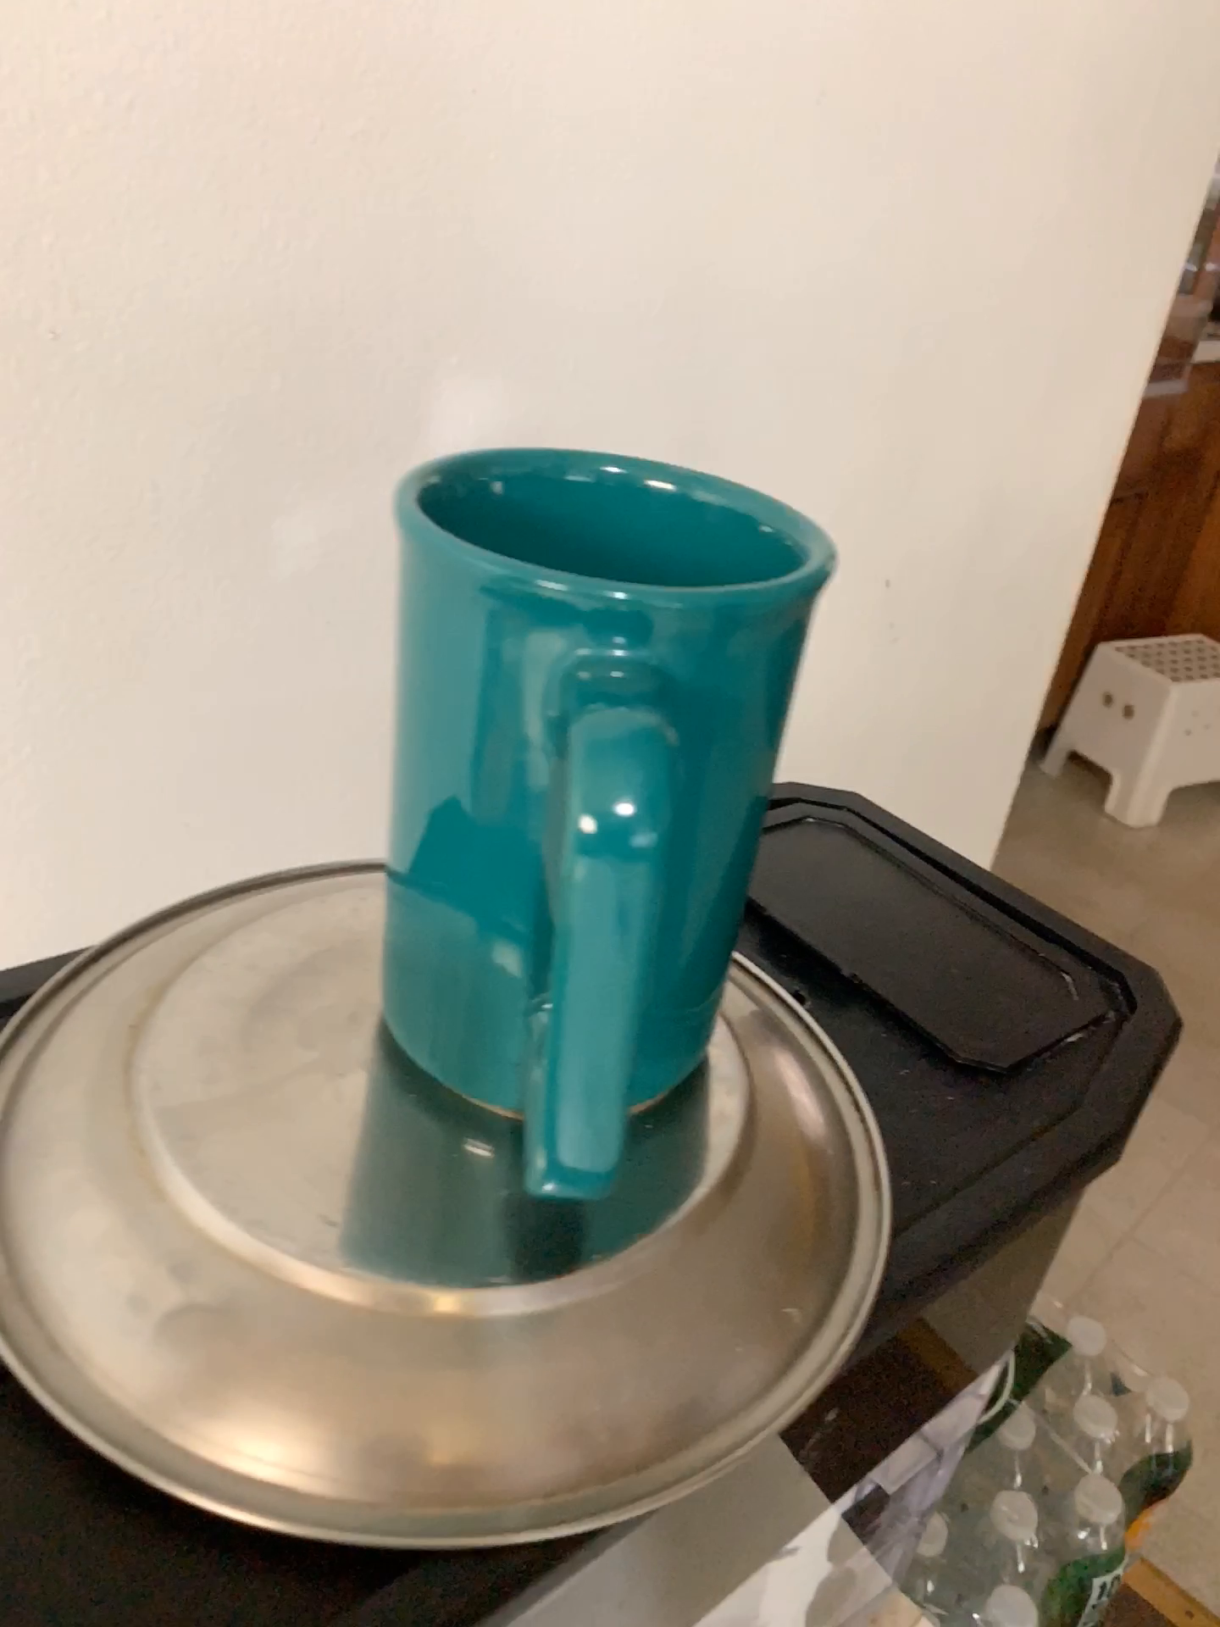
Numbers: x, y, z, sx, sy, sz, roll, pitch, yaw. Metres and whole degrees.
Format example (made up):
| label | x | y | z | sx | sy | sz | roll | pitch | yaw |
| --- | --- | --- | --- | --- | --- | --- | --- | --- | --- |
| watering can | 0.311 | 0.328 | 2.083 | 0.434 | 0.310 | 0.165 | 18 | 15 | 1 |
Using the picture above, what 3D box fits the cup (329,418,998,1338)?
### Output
| label | x | y | z | sx | sy | sz | roll | pitch | yaw |
| --- | --- | --- | --- | --- | --- | --- | --- | --- | --- |
| cup | -0.004 | 0.005 | 0.234 | 0.080 | 0.119 | 0.121 | 4 | 29 | -9 |
